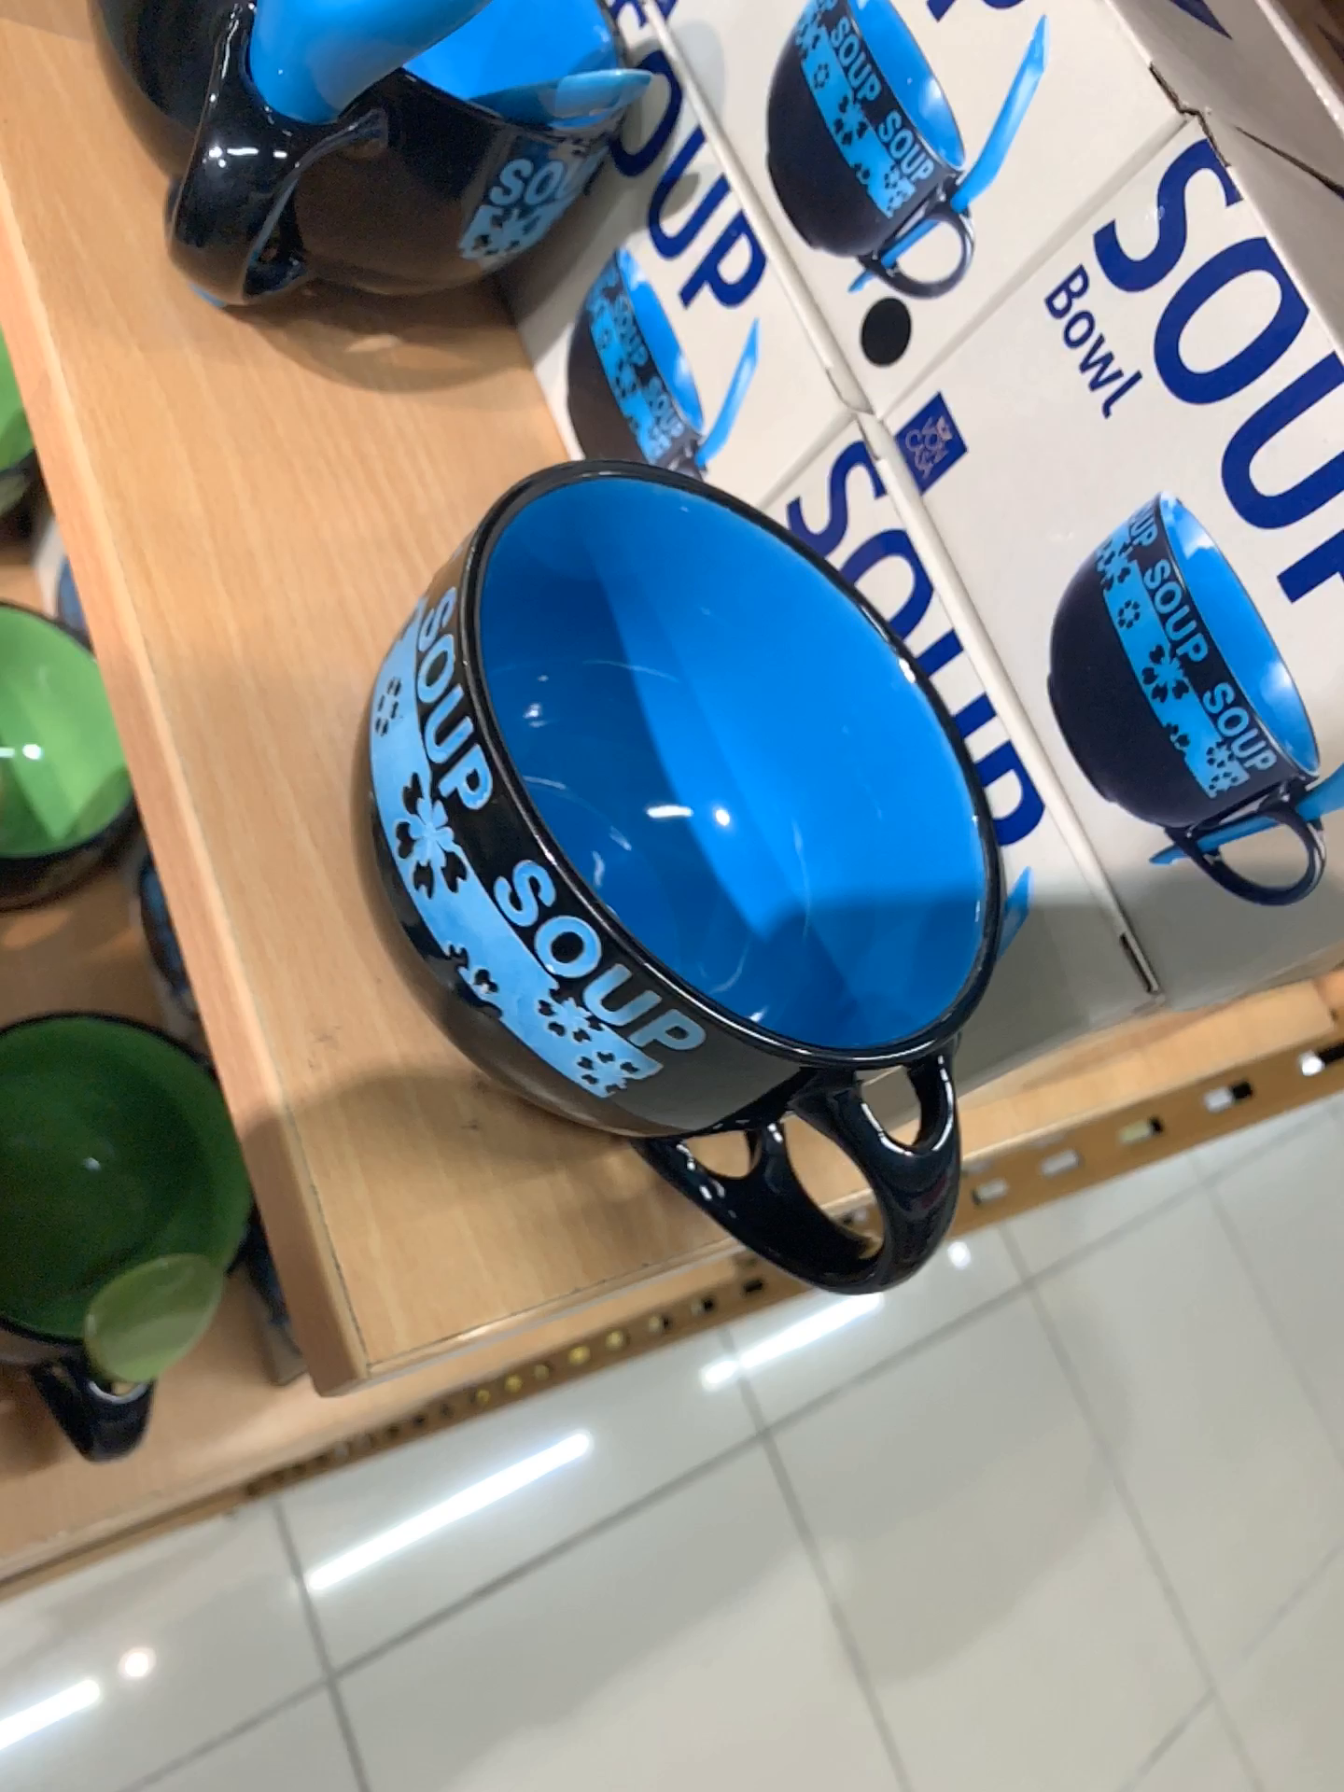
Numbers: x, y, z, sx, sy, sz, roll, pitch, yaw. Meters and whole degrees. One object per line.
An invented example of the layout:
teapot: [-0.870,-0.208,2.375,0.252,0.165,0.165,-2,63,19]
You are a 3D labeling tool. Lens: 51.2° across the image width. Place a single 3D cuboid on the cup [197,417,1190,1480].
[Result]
cup: [0.005,0.000,0.242,0.100,0.060,0.150,-19,77,-46]
